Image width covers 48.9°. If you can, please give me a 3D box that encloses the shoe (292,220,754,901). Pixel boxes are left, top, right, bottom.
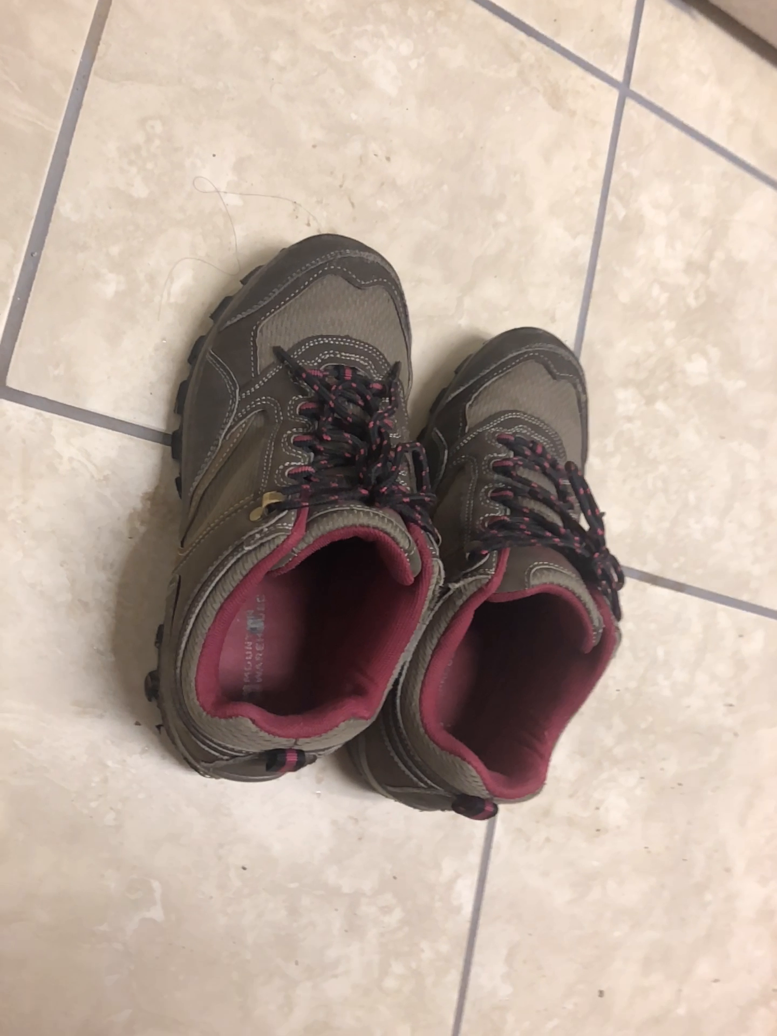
[{"bbox_3d":[0.062,0.020,0.407,0.110,0.120,0.260,21,79,-25],"label":"shoe"}]

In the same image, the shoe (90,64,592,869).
[{"bbox_3d":[-0.022,-0.014,0.363,0.120,0.120,0.270,16,80,-26],"label":"shoe"}]
